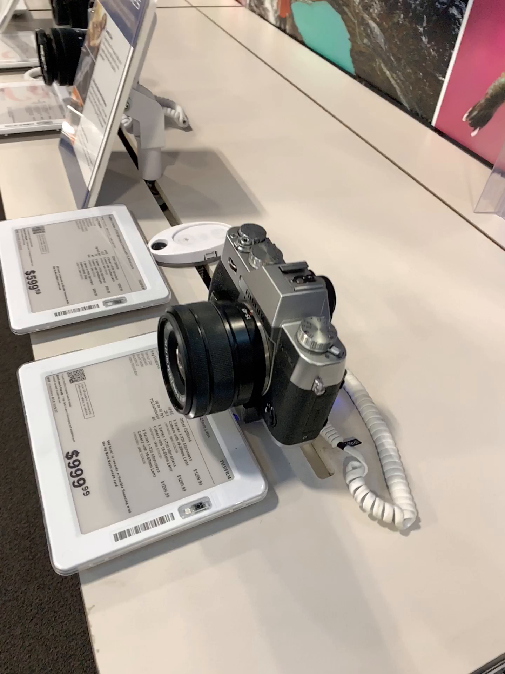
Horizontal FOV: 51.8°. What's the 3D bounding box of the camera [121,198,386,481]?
[{"bbox_3d":[-0.009,-0.007,0.306,0.100,0.080,0.131,-14,48,-18],"label":"camera"}]
